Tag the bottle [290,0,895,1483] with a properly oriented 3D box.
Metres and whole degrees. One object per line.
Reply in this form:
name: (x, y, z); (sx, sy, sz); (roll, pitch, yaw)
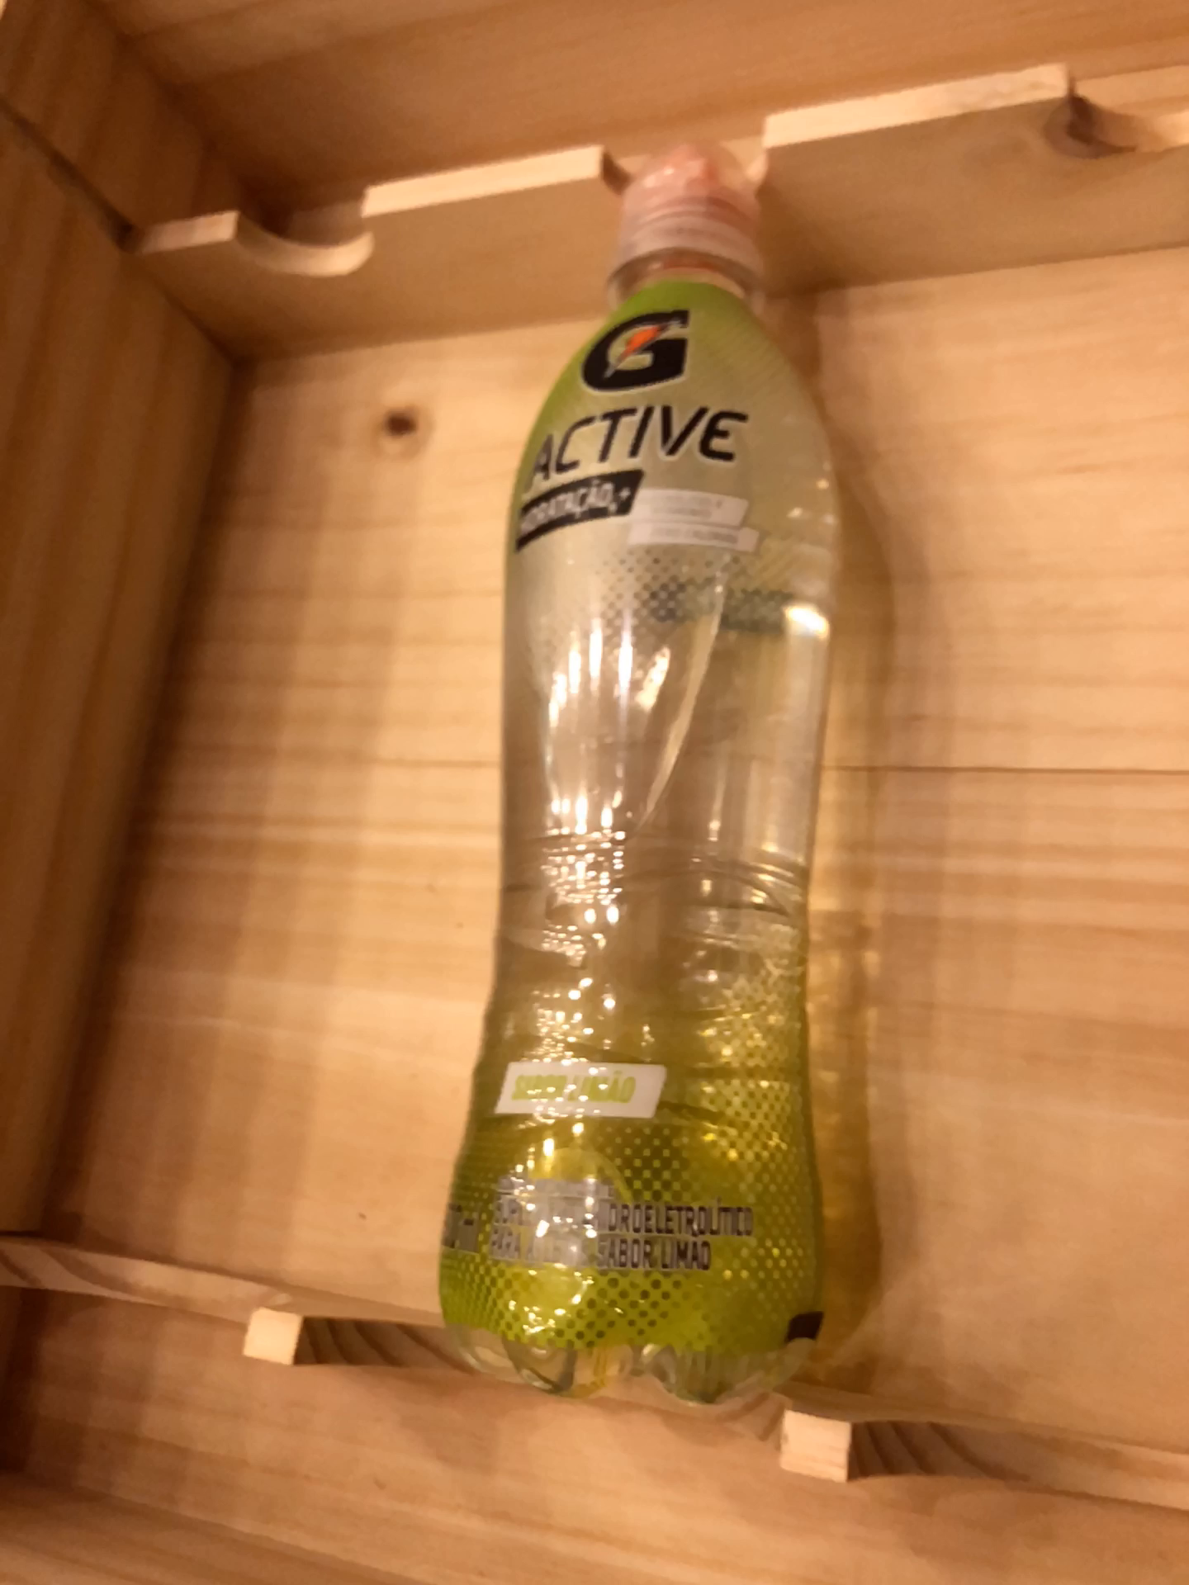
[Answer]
bottle: (0.014, -0.030, 0.252); (0.070, 0.070, 0.270); (-2, 70, 20)
